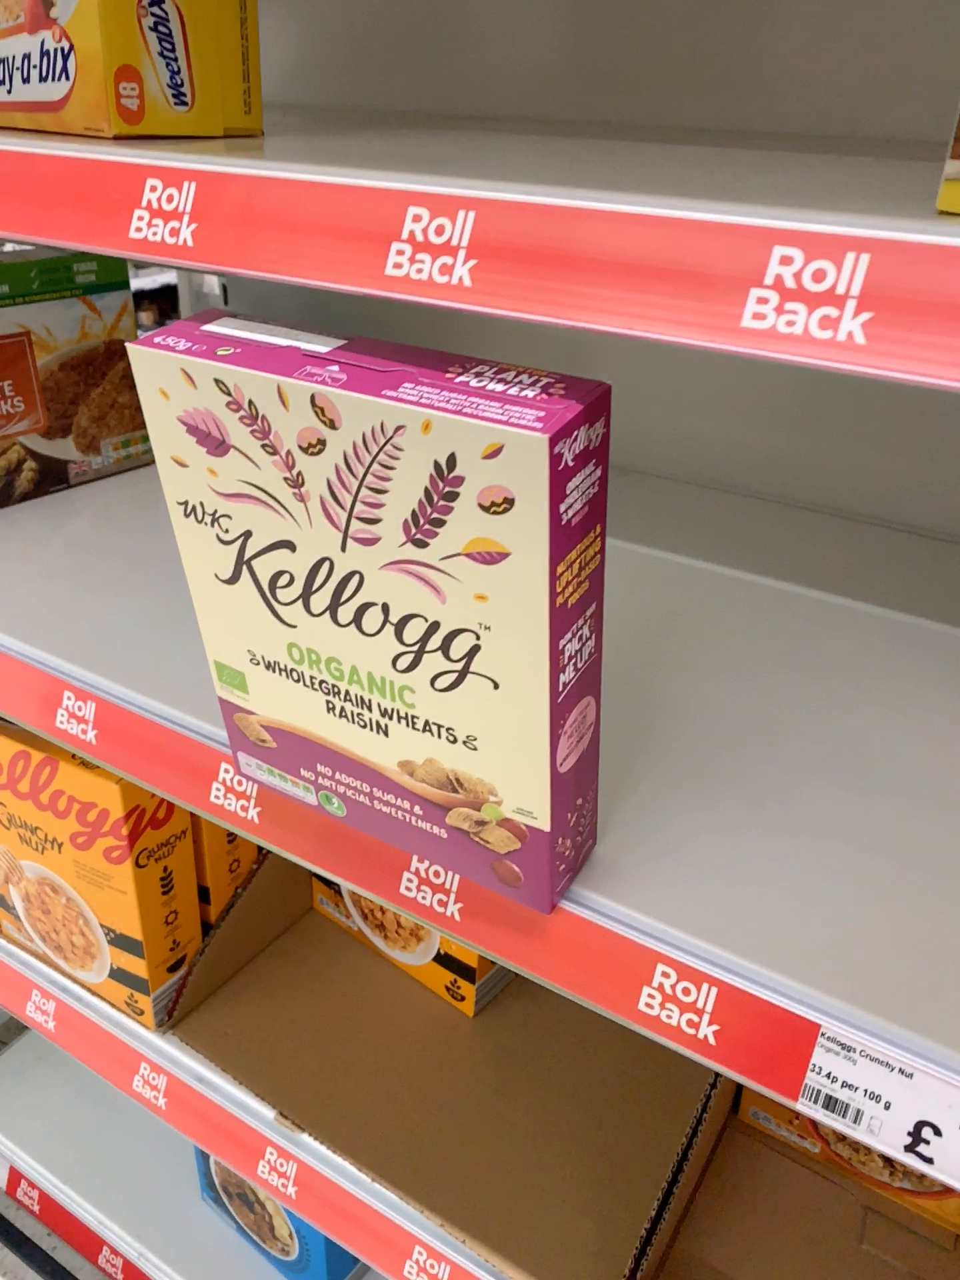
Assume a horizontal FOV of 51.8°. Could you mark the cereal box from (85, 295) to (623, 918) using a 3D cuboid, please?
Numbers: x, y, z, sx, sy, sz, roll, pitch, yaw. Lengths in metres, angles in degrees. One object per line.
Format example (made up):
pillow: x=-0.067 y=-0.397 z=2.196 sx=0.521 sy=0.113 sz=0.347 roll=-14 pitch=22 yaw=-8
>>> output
cereal box: x=-0.048 y=-0.016 z=0.419 sx=0.200 sy=0.218 sz=0.060 roll=17 pitch=39 yaw=27
